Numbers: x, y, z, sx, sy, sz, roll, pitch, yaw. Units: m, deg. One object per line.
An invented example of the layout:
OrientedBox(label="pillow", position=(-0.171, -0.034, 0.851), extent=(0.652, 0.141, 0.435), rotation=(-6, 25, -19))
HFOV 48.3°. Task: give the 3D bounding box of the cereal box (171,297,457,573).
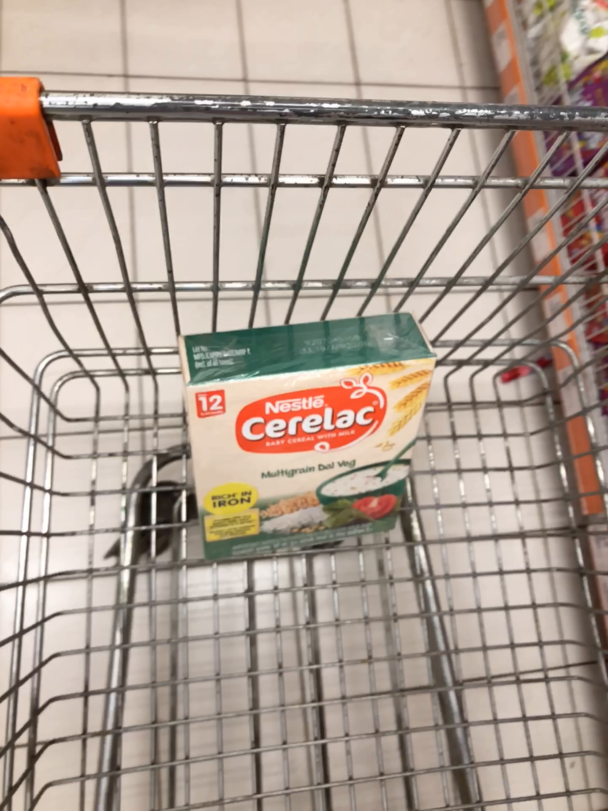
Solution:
OrientedBox(label="cereal box", position=(0.001, 0.027, 0.462), extent=(0.160, 0.189, 0.050), rotation=(-8, 45, -12))
